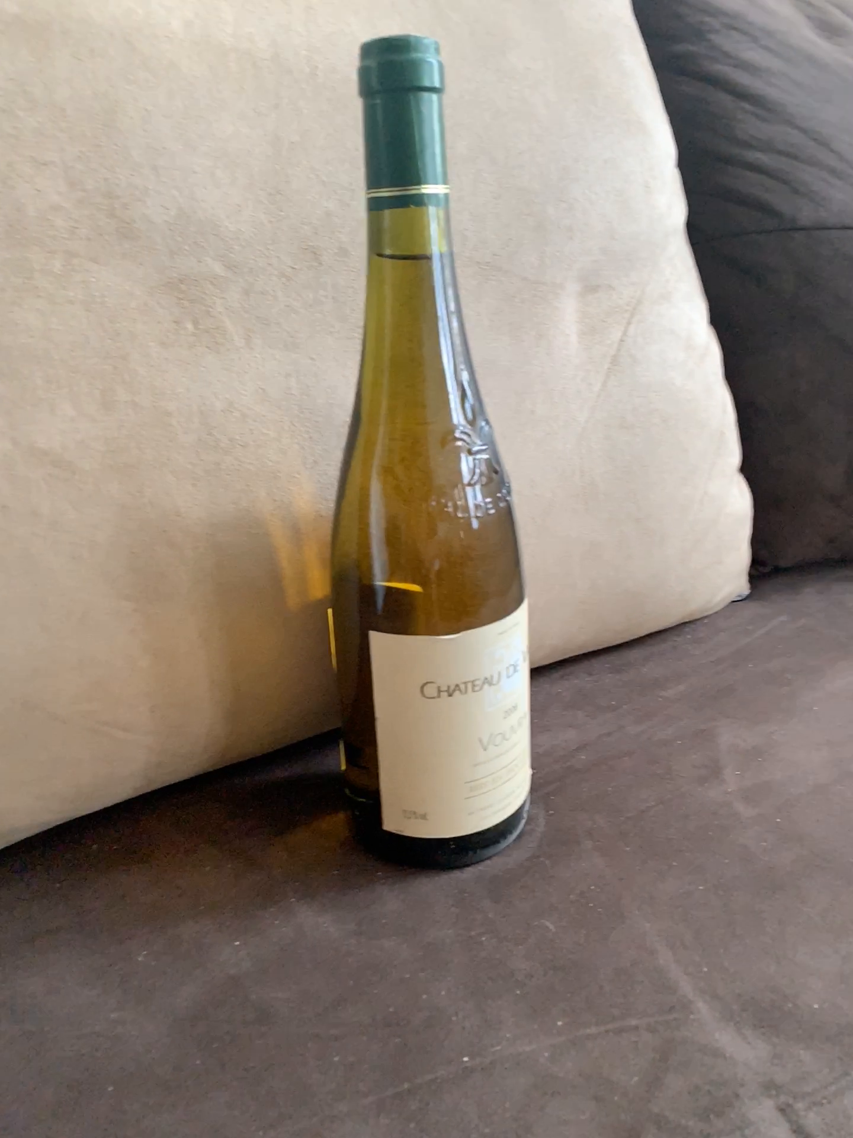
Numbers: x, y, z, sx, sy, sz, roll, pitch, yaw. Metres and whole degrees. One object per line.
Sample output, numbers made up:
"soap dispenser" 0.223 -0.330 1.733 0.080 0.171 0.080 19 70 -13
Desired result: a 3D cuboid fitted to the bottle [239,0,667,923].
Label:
"bottle" 0.008 -0.032 0.335 0.090 0.308 0.100 19 30 34
